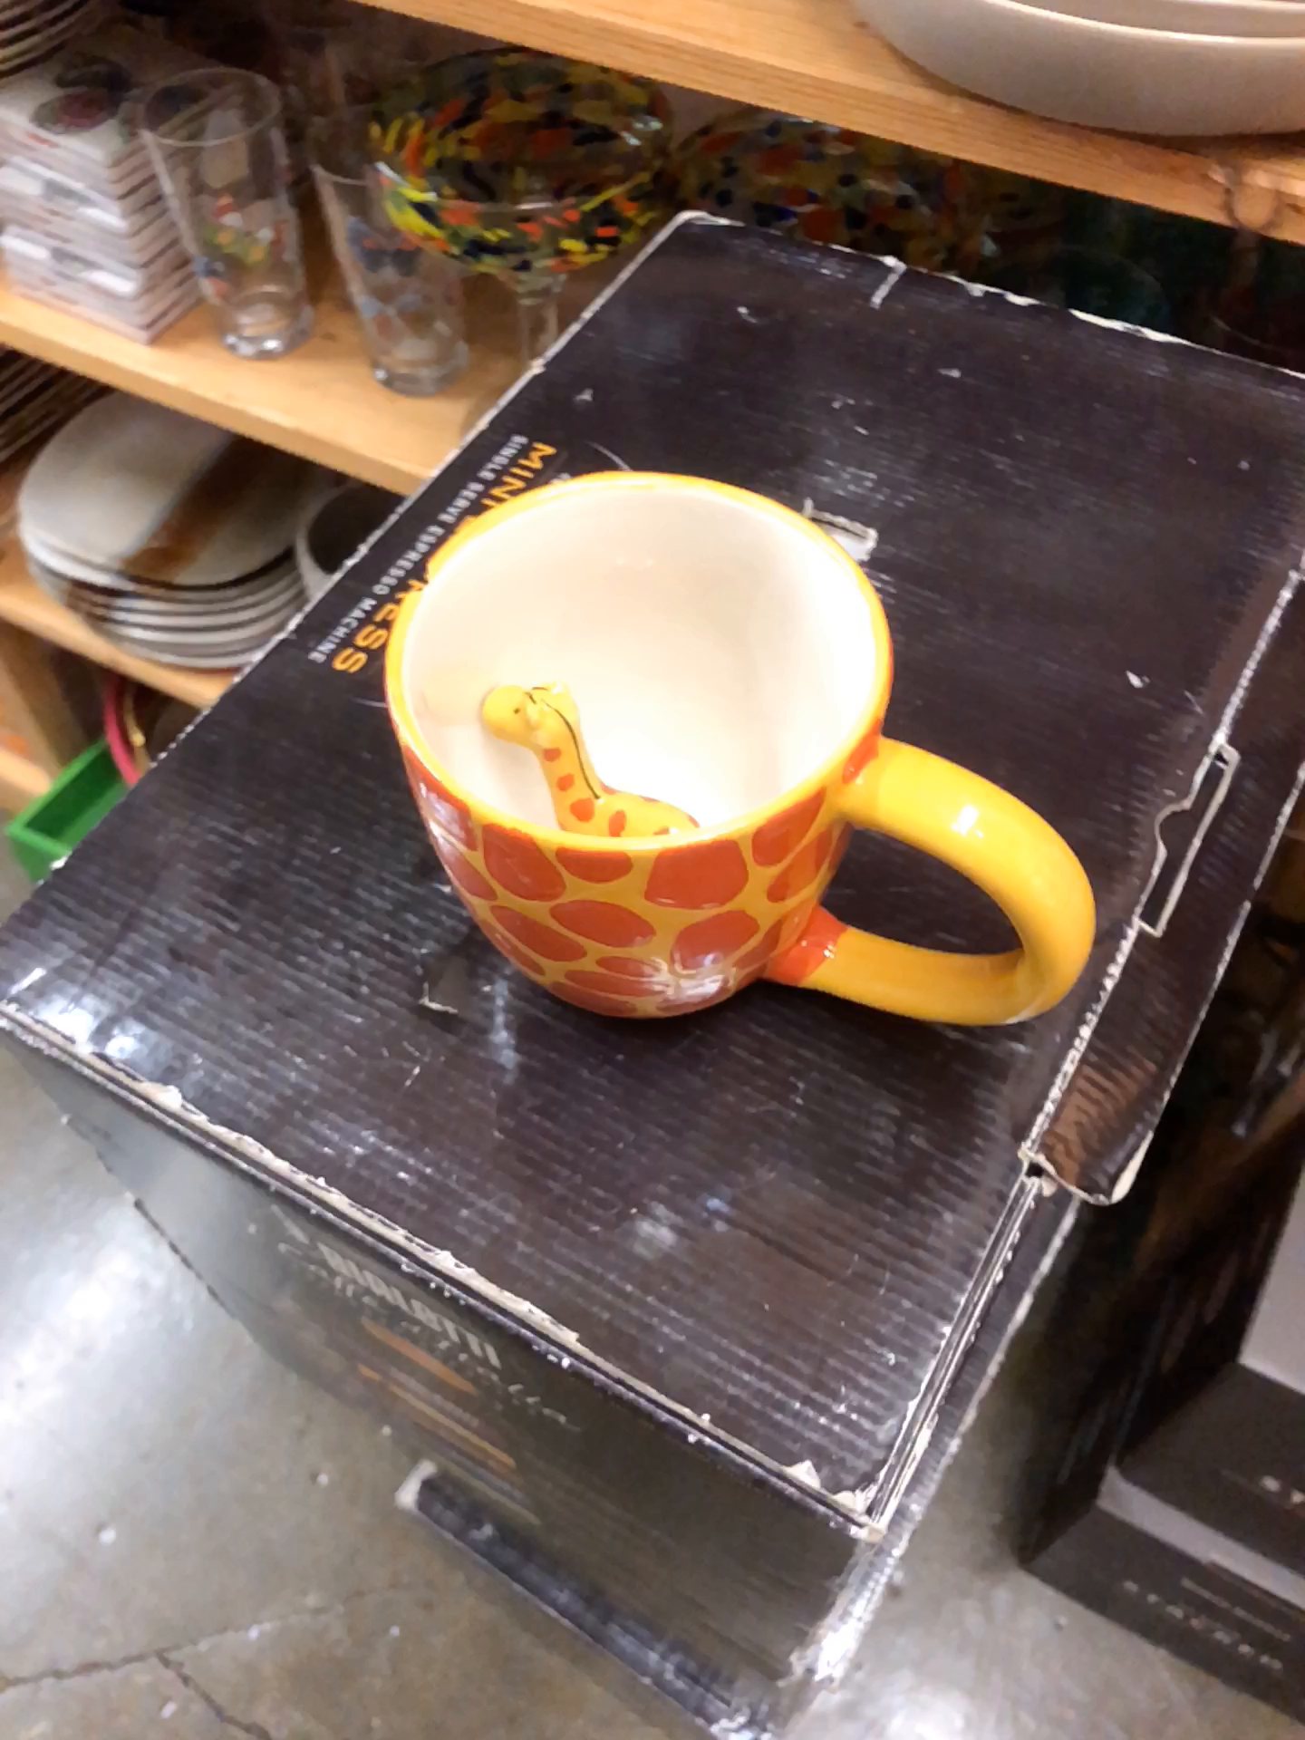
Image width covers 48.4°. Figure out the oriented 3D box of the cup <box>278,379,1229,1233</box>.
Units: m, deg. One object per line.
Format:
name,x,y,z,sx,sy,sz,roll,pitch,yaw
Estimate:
cup,0.019,-0.017,0.282,0.134,0.067,0.102,27,61,17
